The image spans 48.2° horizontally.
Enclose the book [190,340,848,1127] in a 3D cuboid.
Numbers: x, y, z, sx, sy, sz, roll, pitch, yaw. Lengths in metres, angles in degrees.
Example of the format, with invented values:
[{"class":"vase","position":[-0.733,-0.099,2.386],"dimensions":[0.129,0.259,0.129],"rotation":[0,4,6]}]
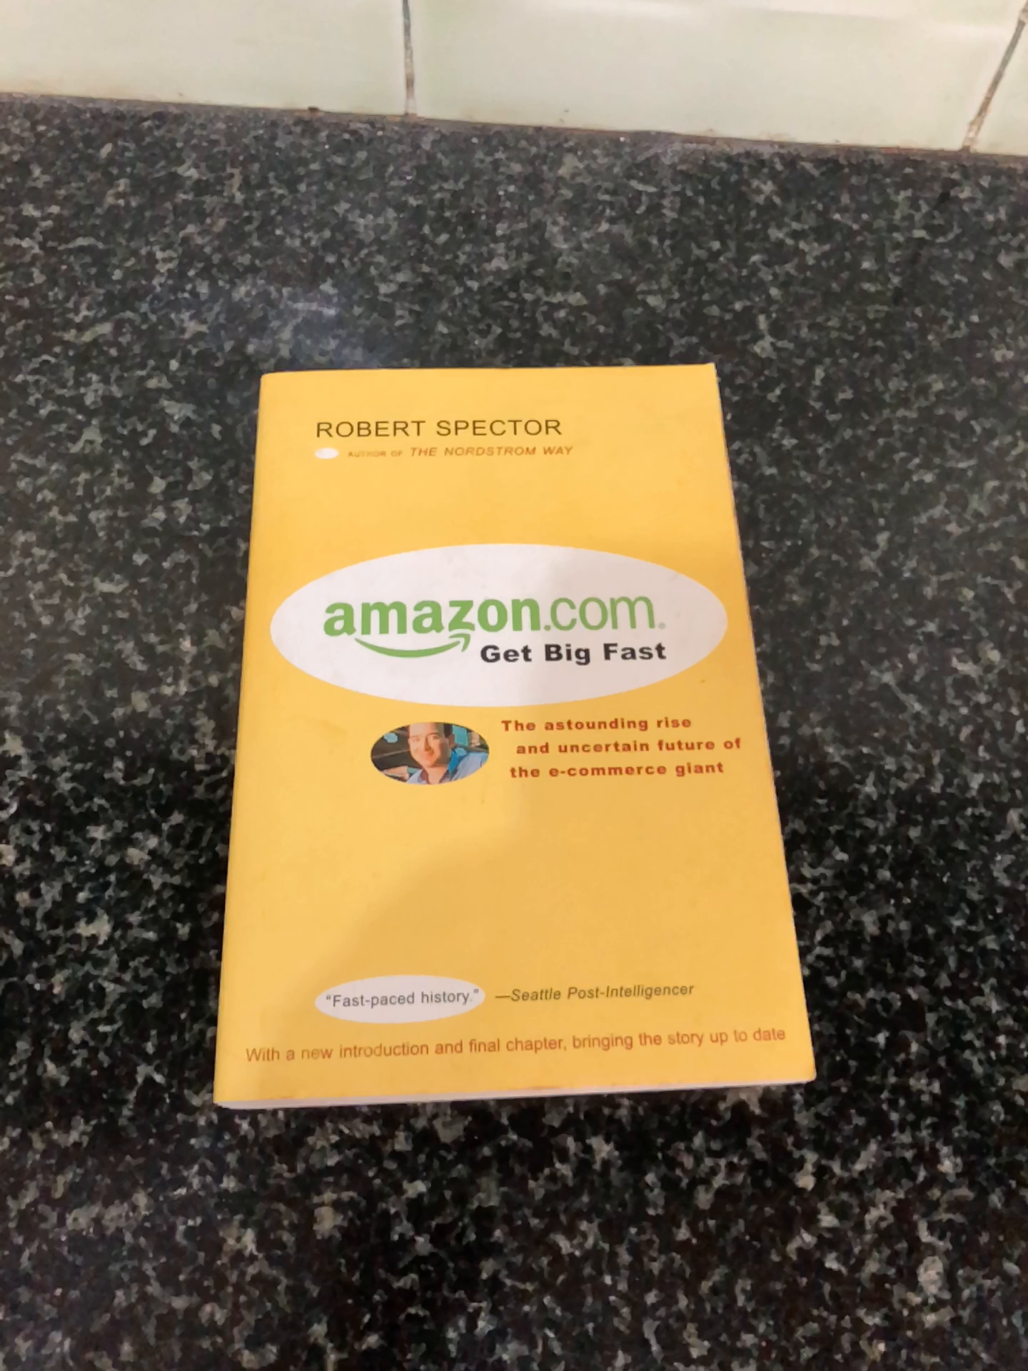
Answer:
[{"class":"book","position":[-0.002,0.001,0.303],"dimensions":[0.140,0.030,0.210],"rotation":[-1,64,-3]}]
